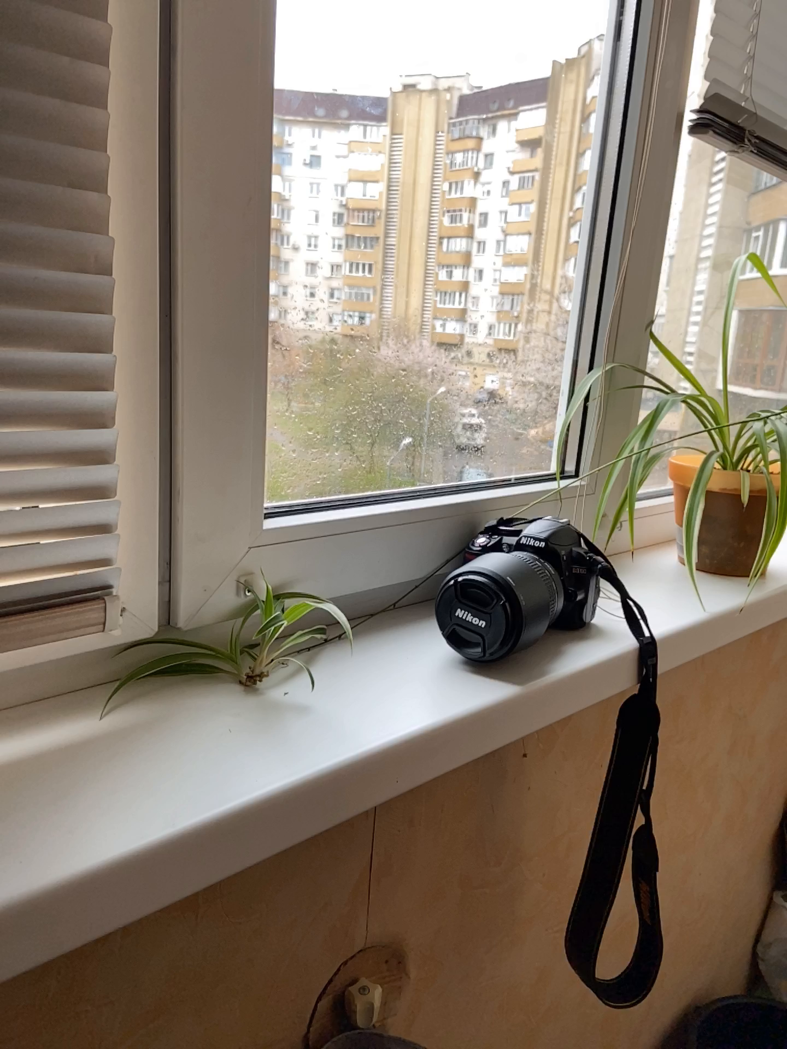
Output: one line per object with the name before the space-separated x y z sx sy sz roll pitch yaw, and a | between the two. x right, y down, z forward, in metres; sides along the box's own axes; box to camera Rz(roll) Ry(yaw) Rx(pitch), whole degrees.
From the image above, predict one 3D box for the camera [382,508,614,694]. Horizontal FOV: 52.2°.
camera | 0.097 0.055 0.700 0.125 0.089 0.191 13 16 29
